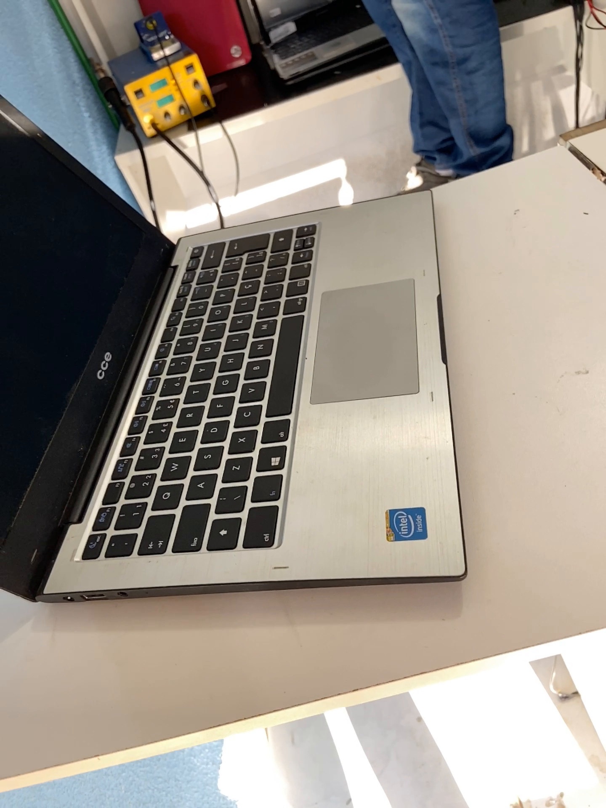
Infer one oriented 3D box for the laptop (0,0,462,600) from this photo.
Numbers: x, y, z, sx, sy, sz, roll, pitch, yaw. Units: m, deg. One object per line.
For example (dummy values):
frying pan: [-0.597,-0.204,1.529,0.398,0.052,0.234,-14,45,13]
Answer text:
laptop: [-0.089,-0.085,0.347,0.303,0.181,0.314,-7,46,15]
